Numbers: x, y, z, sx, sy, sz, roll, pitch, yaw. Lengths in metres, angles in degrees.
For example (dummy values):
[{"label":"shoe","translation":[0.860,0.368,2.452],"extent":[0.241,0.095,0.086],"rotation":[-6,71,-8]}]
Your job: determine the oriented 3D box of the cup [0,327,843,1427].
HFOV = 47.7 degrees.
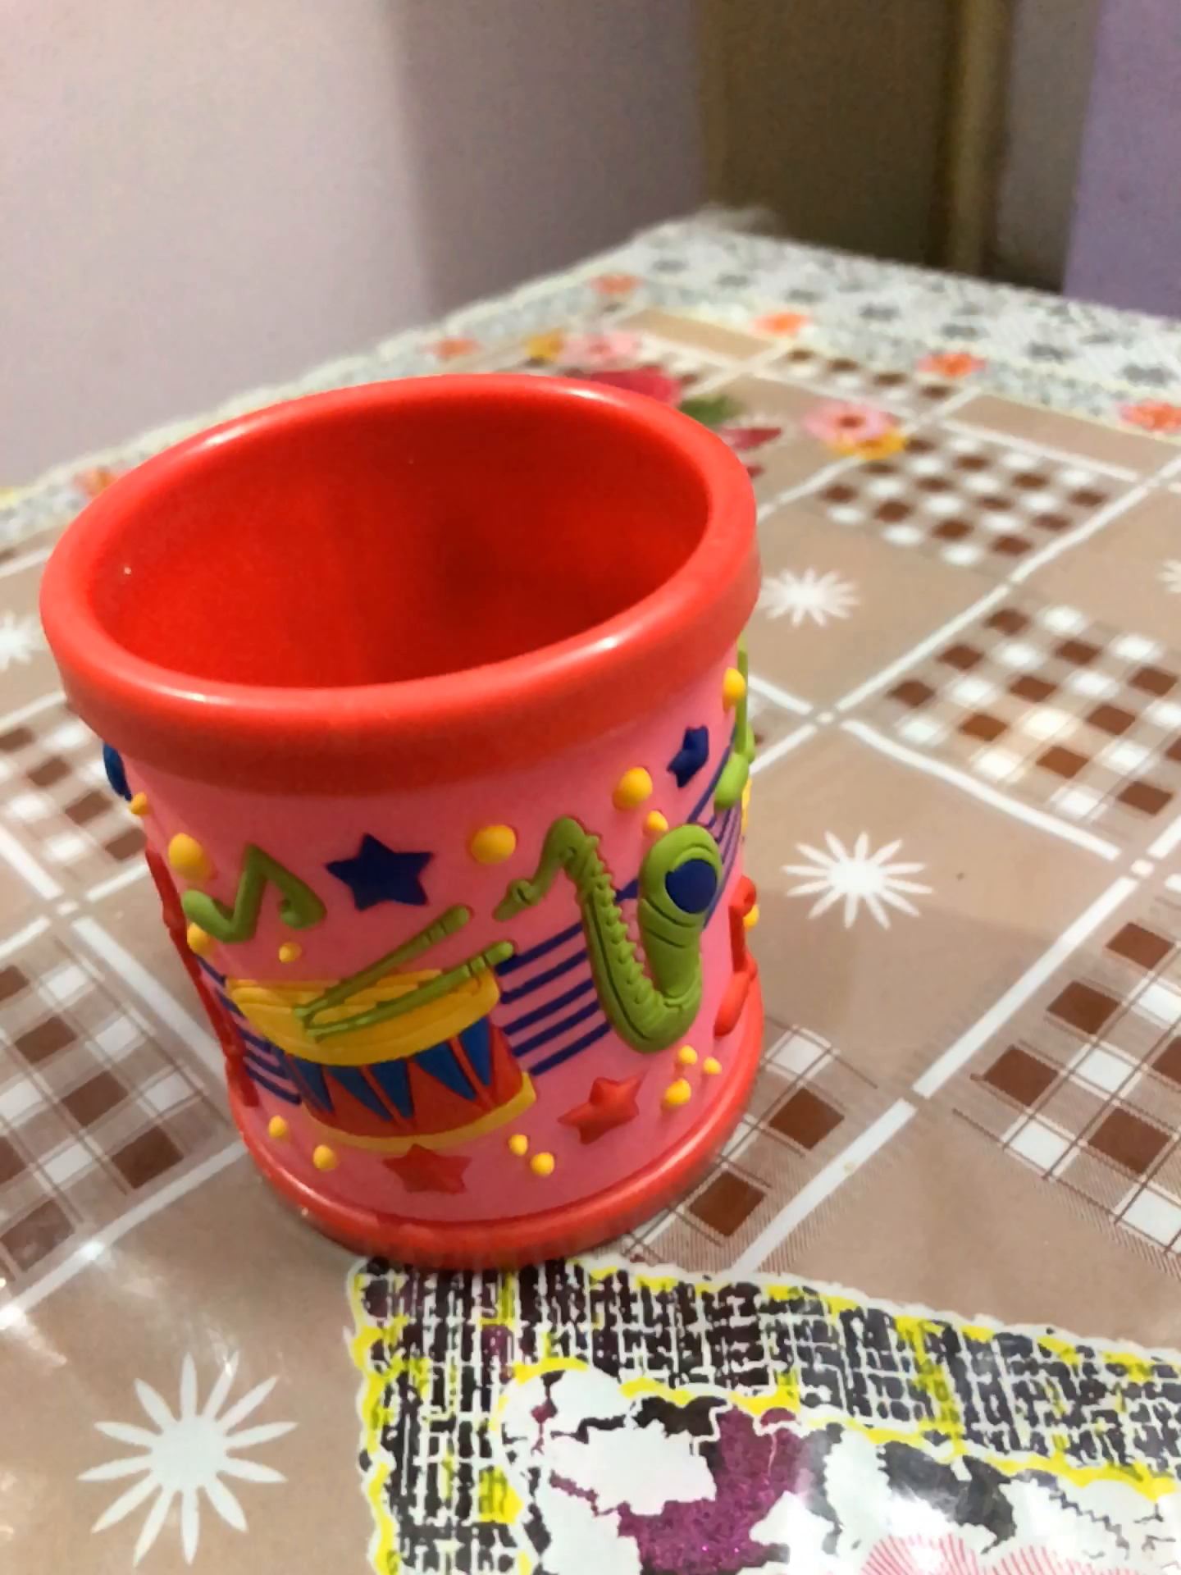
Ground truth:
[{"label":"cup","translation":[-0.023,0.006,0.180],"extent":[0.080,0.099,0.080],"rotation":[-3,38,3]}]
